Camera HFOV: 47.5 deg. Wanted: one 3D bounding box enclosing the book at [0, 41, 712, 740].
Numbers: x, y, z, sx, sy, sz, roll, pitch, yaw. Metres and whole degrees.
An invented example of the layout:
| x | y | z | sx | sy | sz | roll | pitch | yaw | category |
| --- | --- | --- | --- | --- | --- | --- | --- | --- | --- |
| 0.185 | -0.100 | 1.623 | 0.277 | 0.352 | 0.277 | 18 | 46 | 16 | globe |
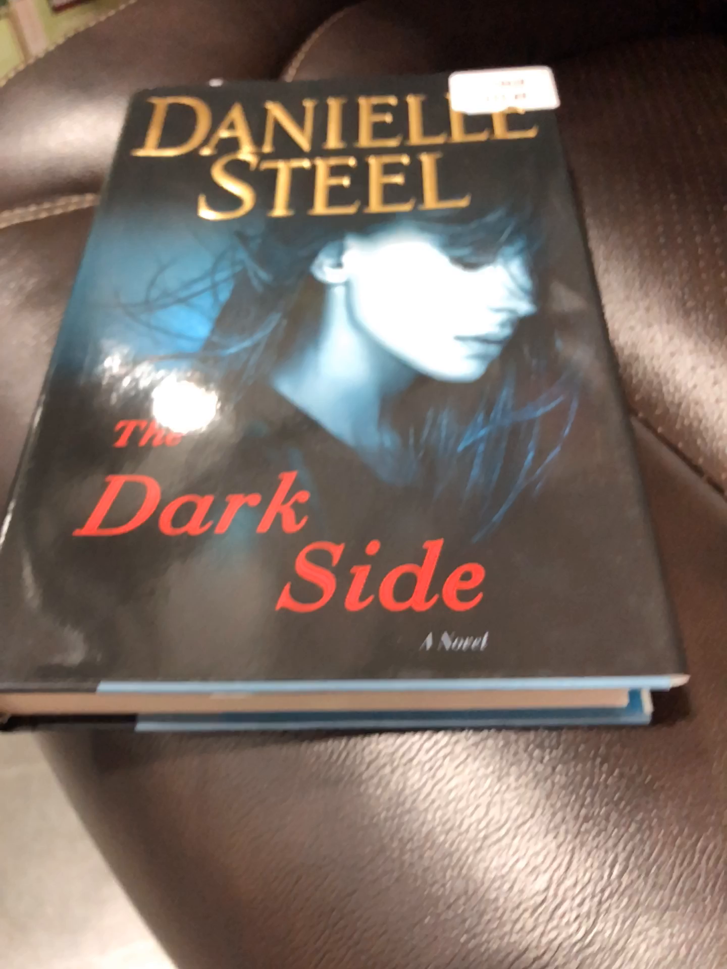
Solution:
| x | y | z | sx | sy | sz | roll | pitch | yaw | category |
| --- | --- | --- | --- | --- | --- | --- | --- | --- | --- |
| -0.012 | -0.048 | 0.253 | 0.168 | 0.040 | 0.238 | -2 | 56 | 3 | book |
